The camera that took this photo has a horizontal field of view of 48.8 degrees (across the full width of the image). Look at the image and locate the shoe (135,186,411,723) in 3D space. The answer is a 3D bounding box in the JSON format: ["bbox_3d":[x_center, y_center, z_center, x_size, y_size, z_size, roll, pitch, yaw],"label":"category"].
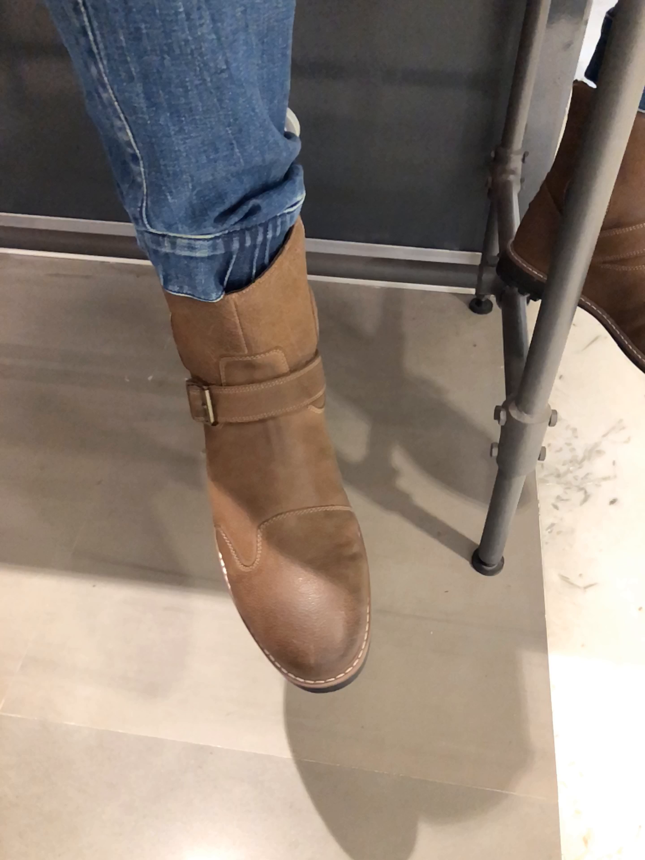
[{"bbox_3d":[-0.037,0.010,0.475,0.109,0.206,0.275,-12,49,-5],"label":"shoe"}]

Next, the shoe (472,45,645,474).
[{"bbox_3d":[0.323,-0.156,0.613,0.114,0.206,0.324,-29,59,-37],"label":"shoe"}]
